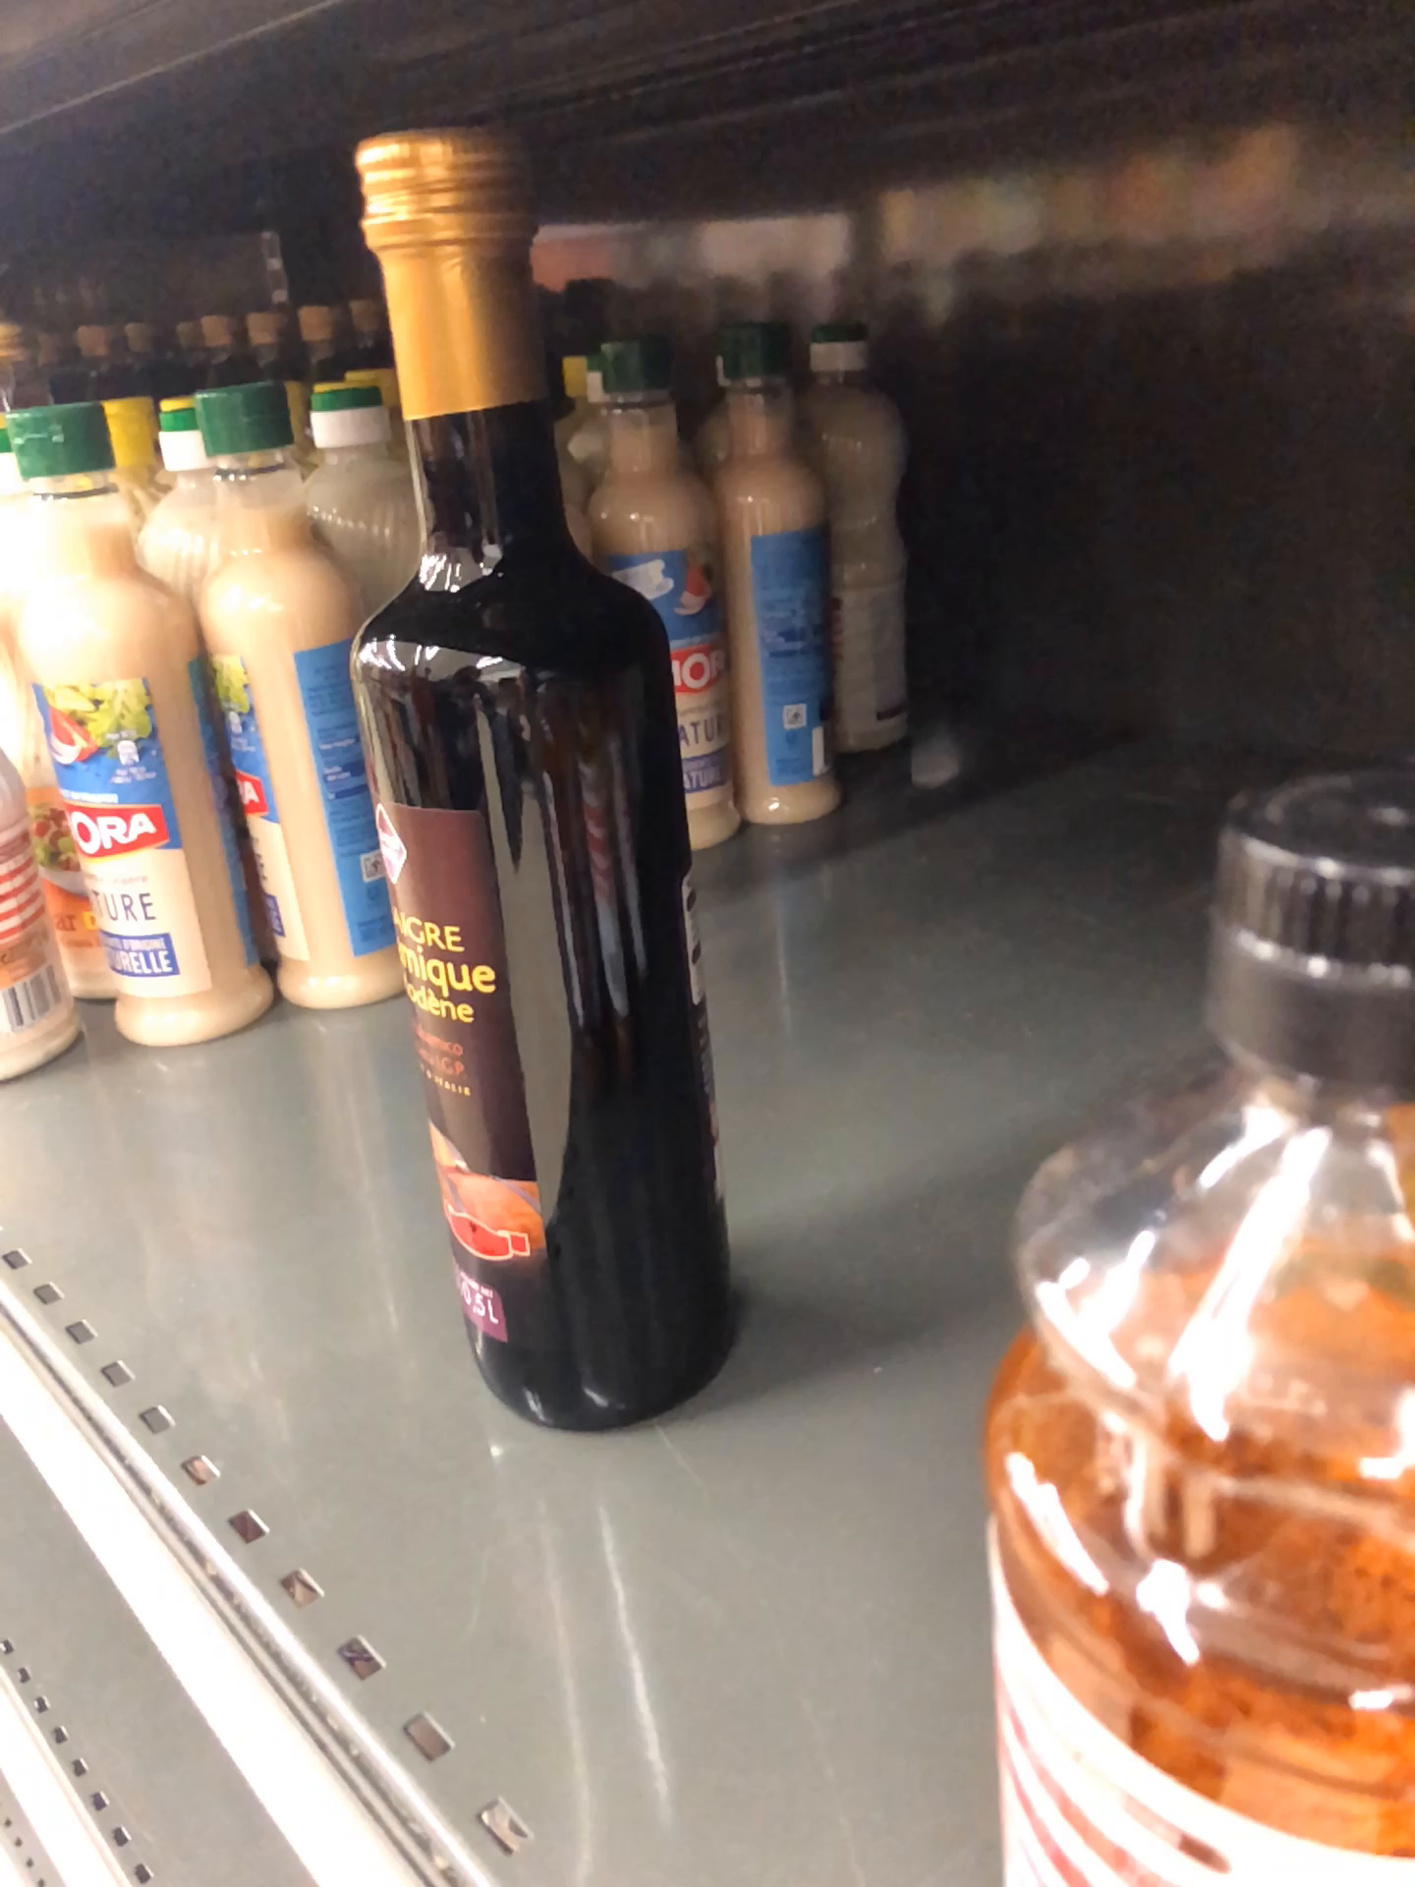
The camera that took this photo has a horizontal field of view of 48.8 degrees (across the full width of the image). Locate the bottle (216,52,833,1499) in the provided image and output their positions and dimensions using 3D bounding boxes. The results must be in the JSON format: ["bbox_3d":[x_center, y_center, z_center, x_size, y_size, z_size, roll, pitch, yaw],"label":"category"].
[{"bbox_3d":[-0.030,-0.026,0.324,0.070,0.269,0.070,-5,22,2],"label":"bottle"}]
